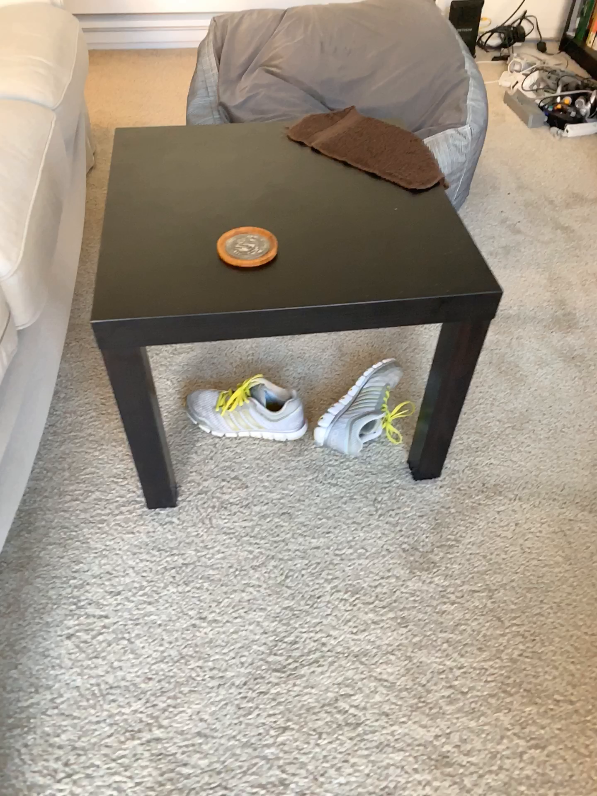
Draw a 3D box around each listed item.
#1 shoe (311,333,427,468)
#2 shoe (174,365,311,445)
[{"bbox_3d":[0.136,-0.002,1.135,0.100,0.090,0.251,23,51,26],"label":"shoe"},{"bbox_3d":[-0.107,0.014,1.201,0.250,0.099,0.090,6,48,3],"label":"shoe"}]
